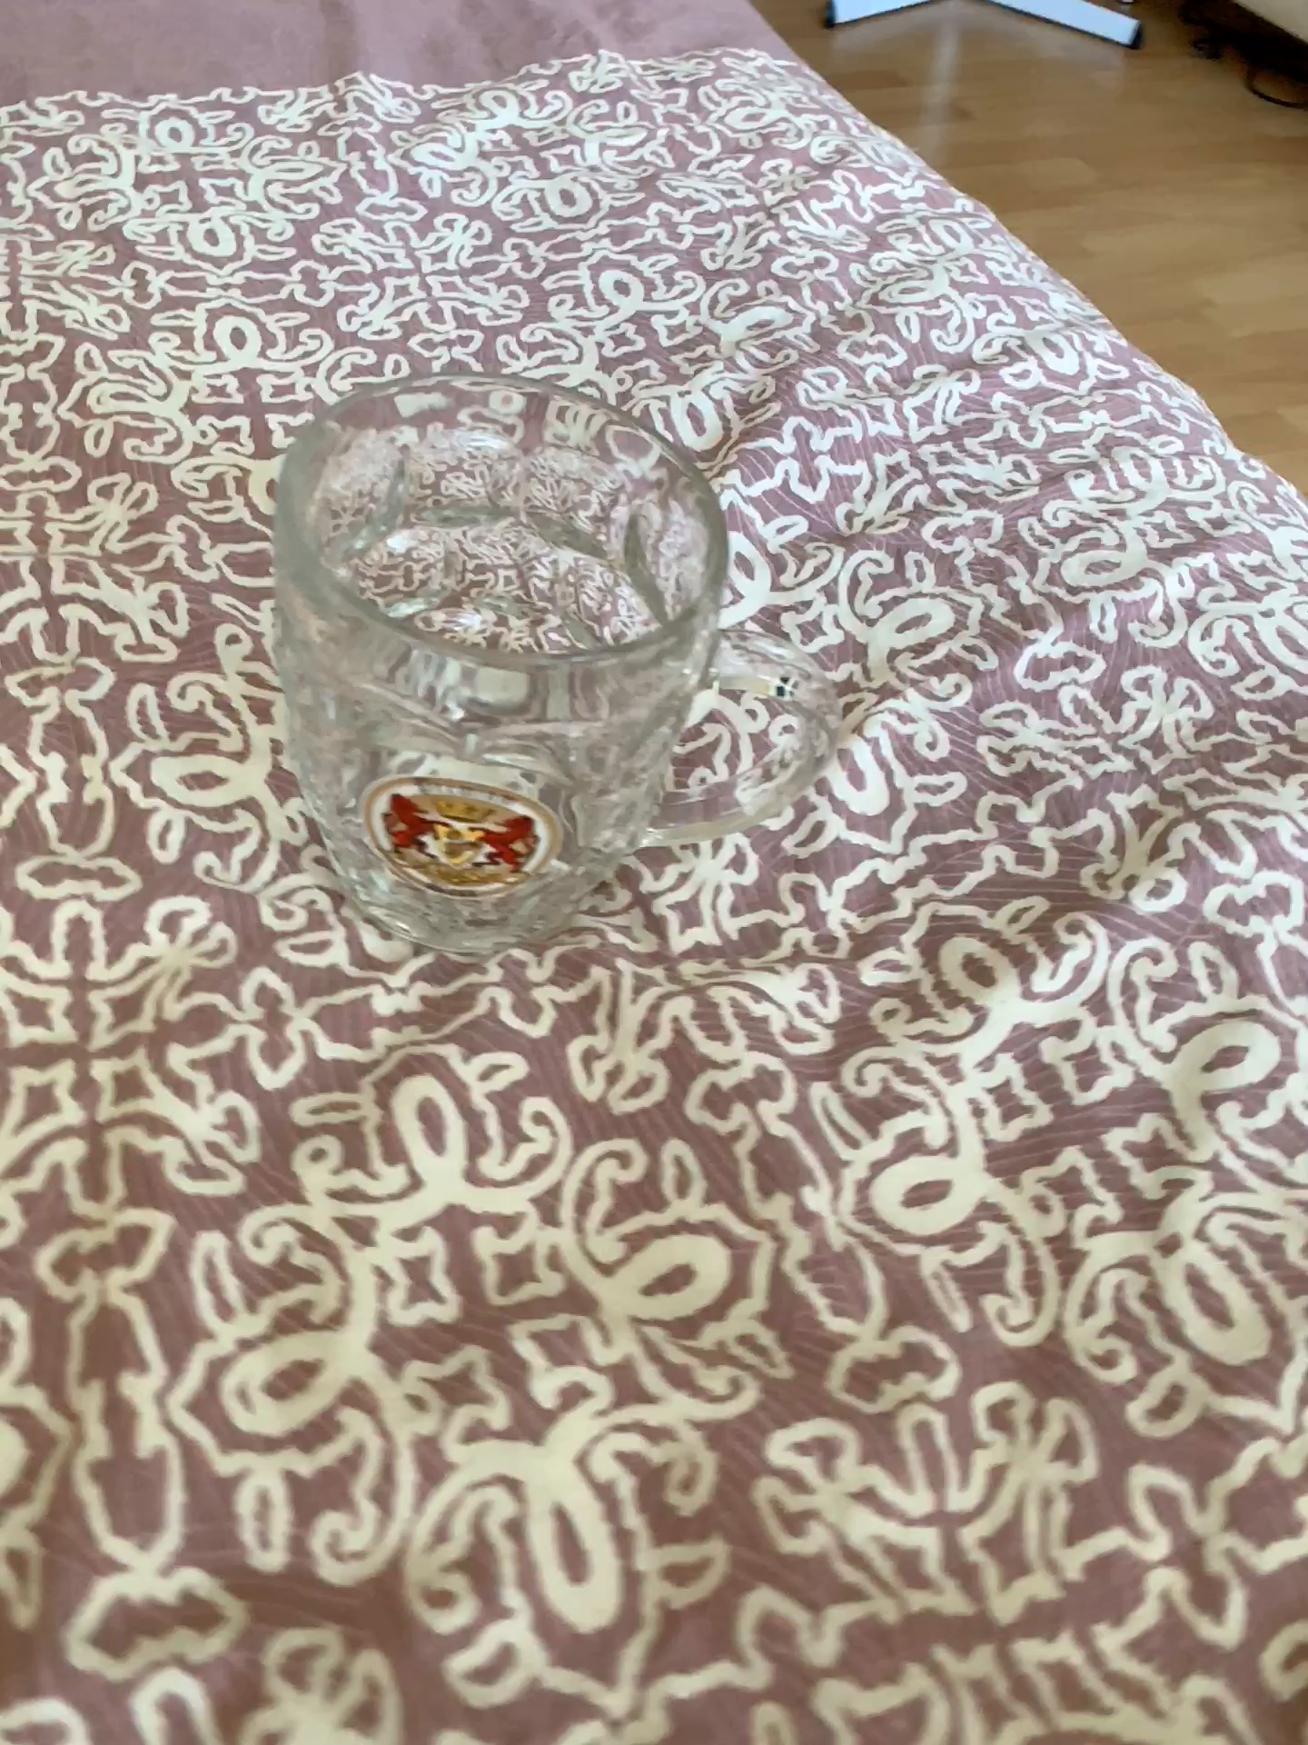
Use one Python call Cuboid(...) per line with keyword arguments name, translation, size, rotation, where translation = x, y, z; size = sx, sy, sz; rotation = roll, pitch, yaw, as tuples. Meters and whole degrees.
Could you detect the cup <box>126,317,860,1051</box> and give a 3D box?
Cuboid(name="cup", translation=(-0.028, -0.035, 0.289), size=(0.120, 0.109, 0.091), rotation=(8, 54, -2))
